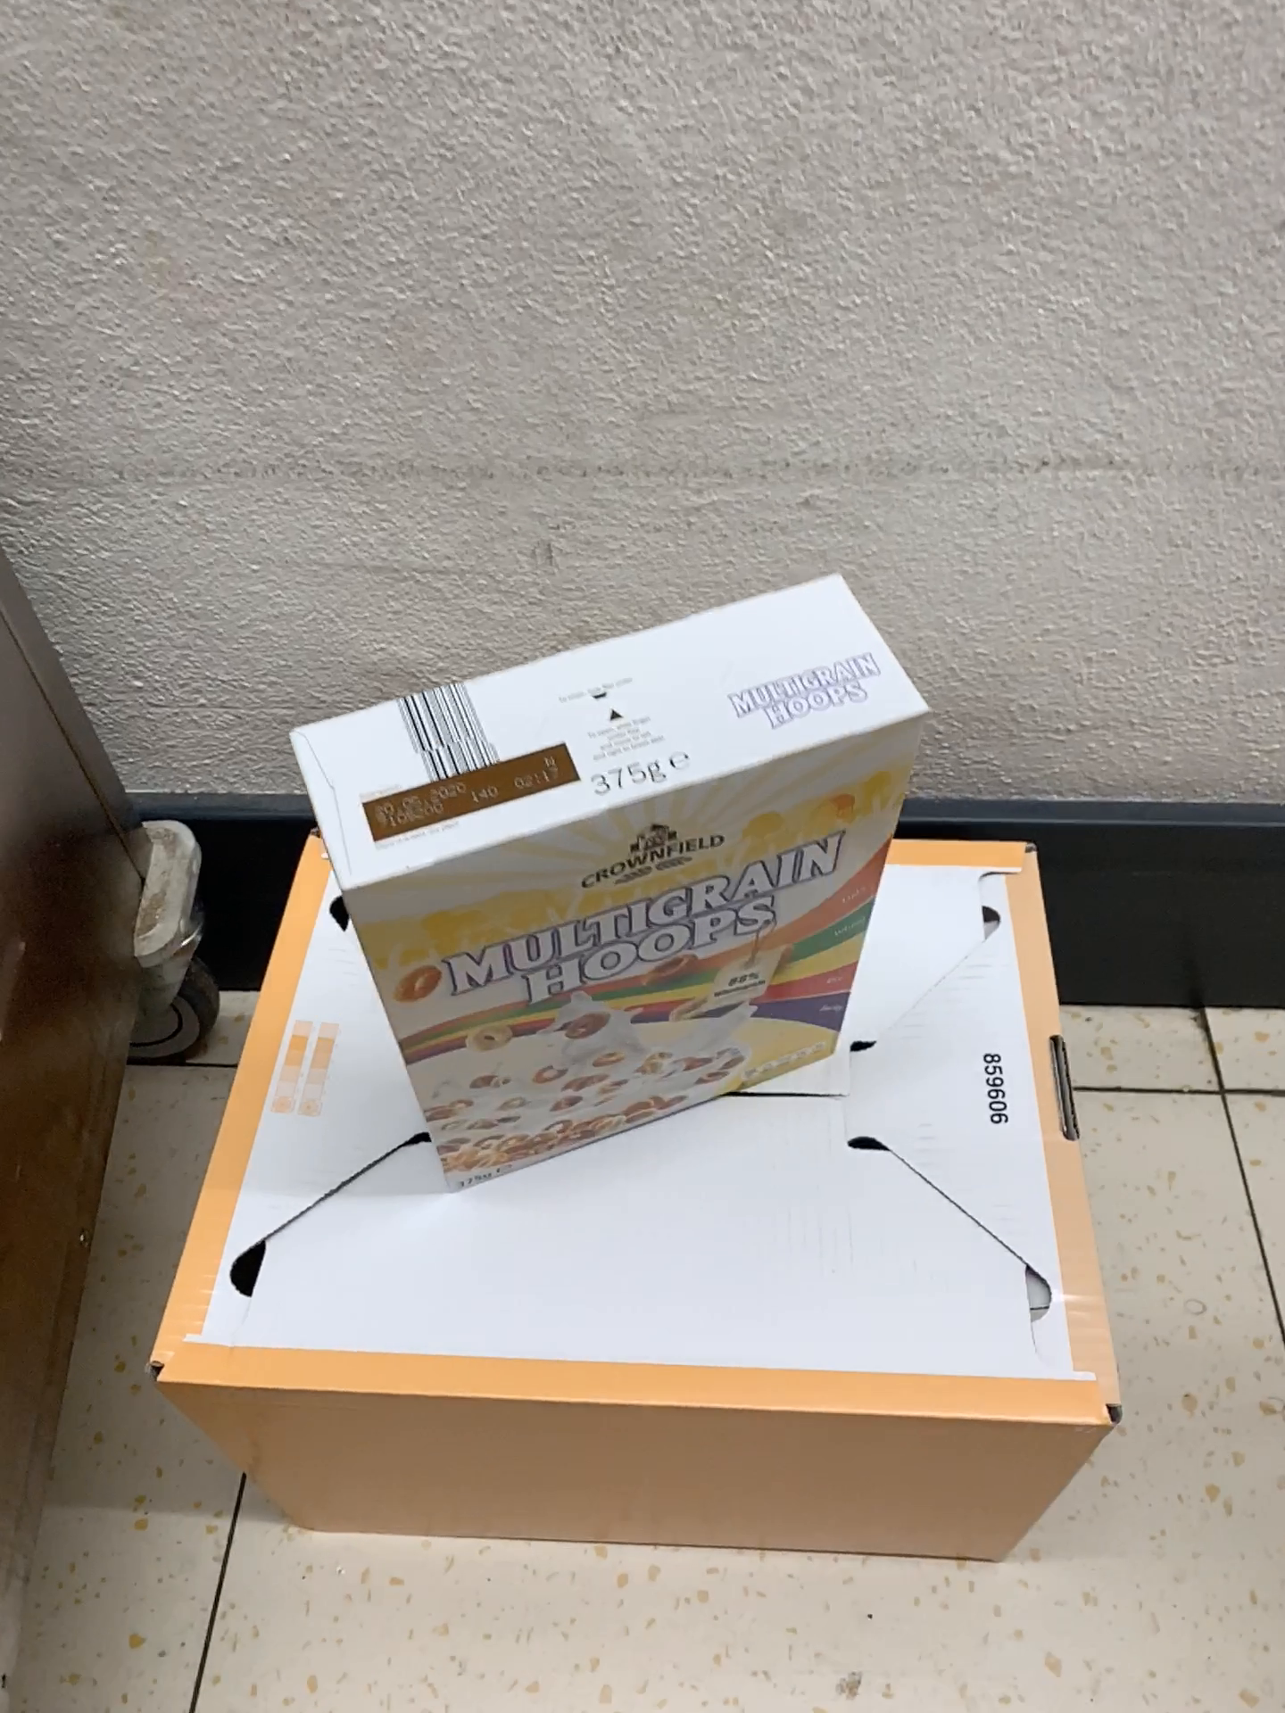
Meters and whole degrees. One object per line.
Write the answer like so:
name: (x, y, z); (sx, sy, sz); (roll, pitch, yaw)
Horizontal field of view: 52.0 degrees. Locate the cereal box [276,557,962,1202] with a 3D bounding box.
cereal box: (-0.007, 0.025, 0.510); (0.200, 0.248, 0.070); (-18, 58, -12)
